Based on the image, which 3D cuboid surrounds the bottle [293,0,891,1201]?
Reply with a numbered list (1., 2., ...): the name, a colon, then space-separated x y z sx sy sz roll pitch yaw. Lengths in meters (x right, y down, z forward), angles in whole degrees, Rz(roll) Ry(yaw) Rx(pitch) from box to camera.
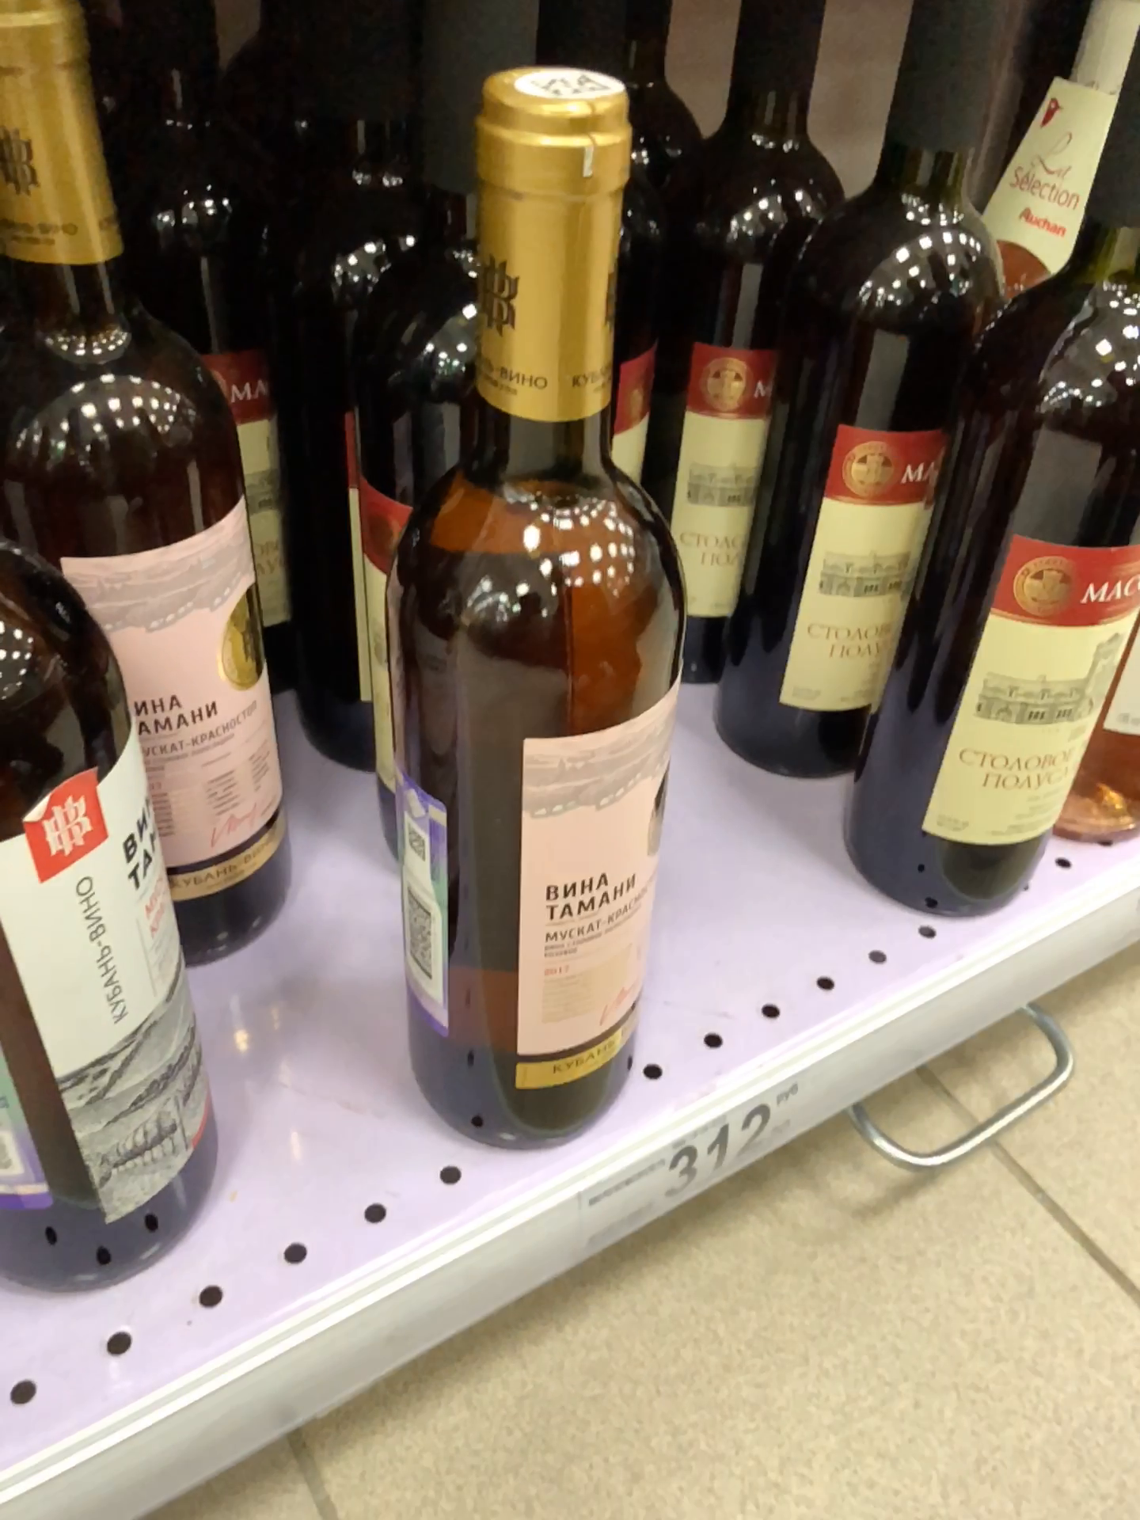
1. bottle: -0.005 -0.015 0.317 0.080 0.290 0.070 -28 50 -33
